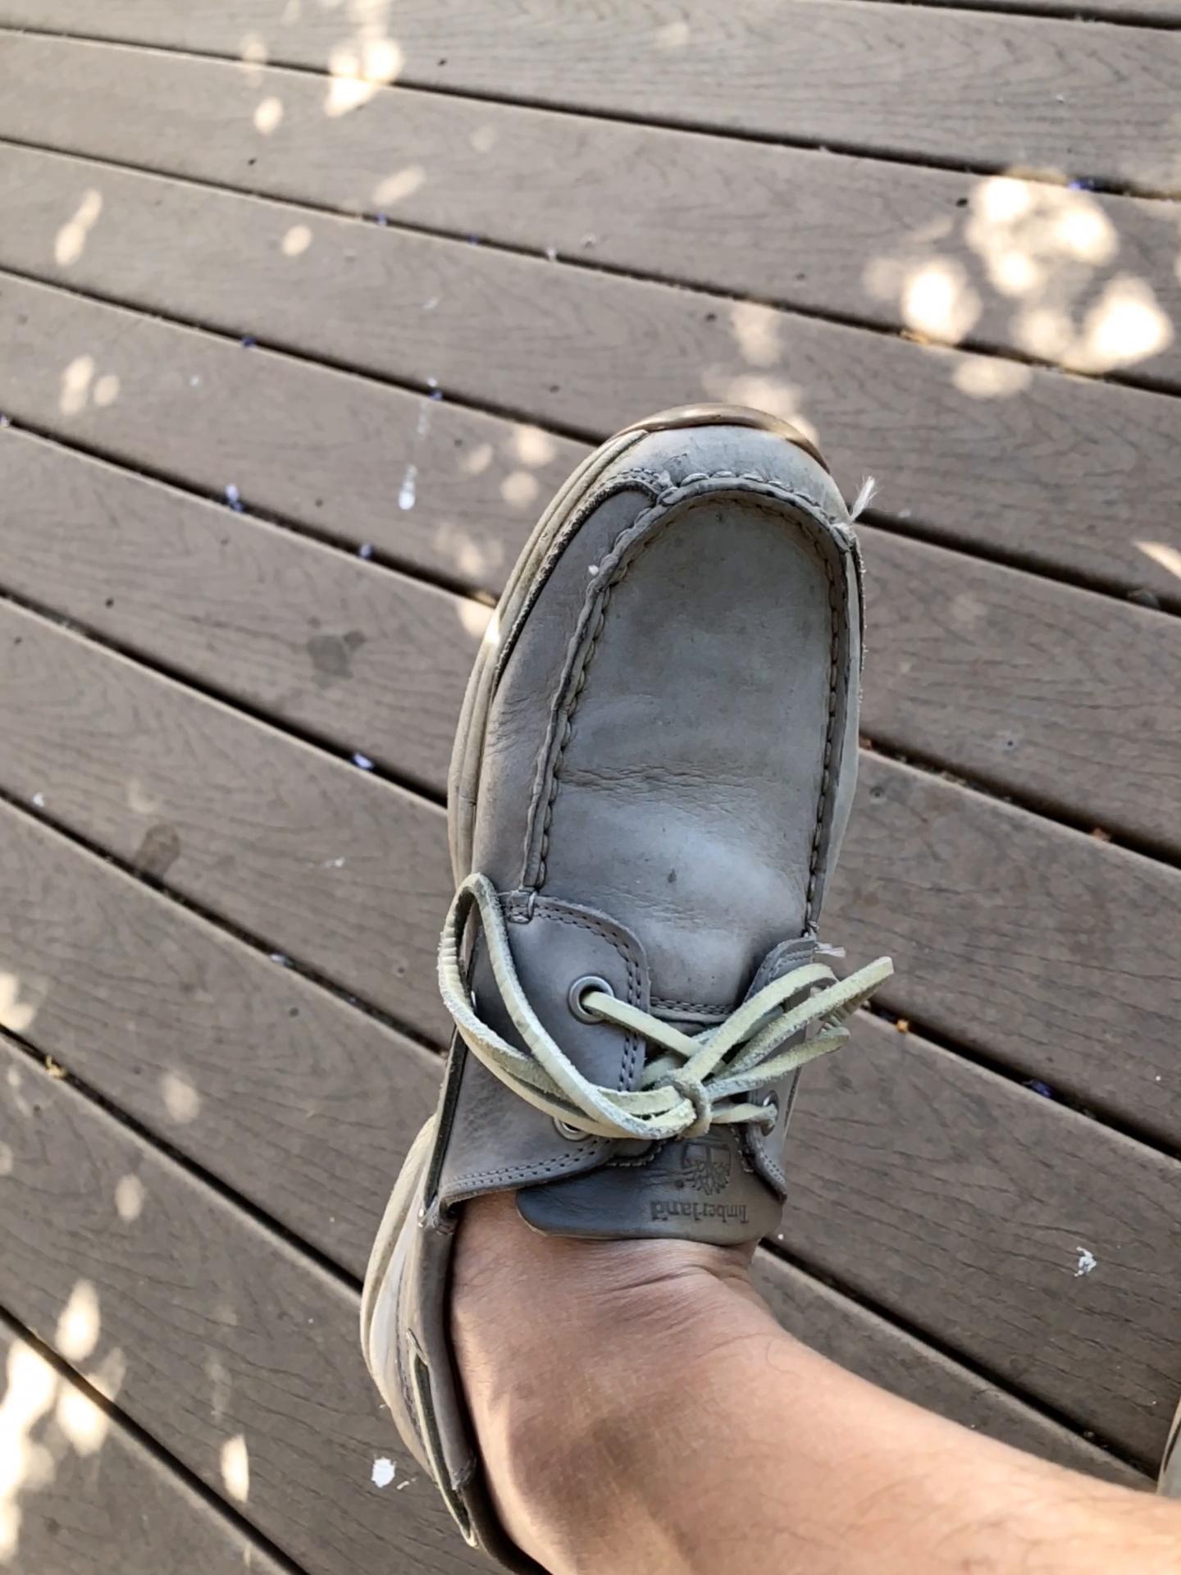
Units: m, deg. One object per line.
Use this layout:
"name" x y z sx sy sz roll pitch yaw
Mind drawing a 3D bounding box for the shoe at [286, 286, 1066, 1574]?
"shoe" 0.014 0.057 0.345 0.083 0.116 0.326 23 104 62
